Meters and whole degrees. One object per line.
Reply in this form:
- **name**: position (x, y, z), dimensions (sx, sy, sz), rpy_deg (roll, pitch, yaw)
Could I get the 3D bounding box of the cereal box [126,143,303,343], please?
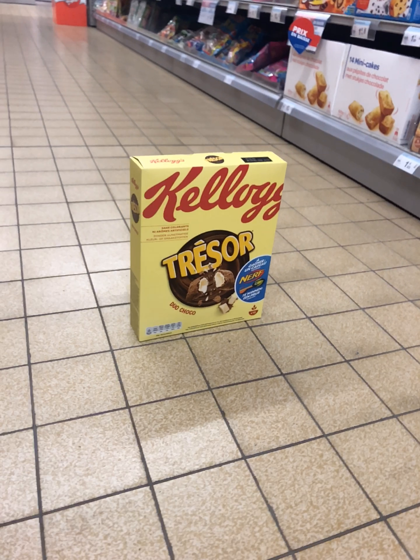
- **cereal box**: position (-0.003, -0.048, 0.601), dimensions (0.201, 0.238, 0.060), rpy_deg (-8, 33, -23)
